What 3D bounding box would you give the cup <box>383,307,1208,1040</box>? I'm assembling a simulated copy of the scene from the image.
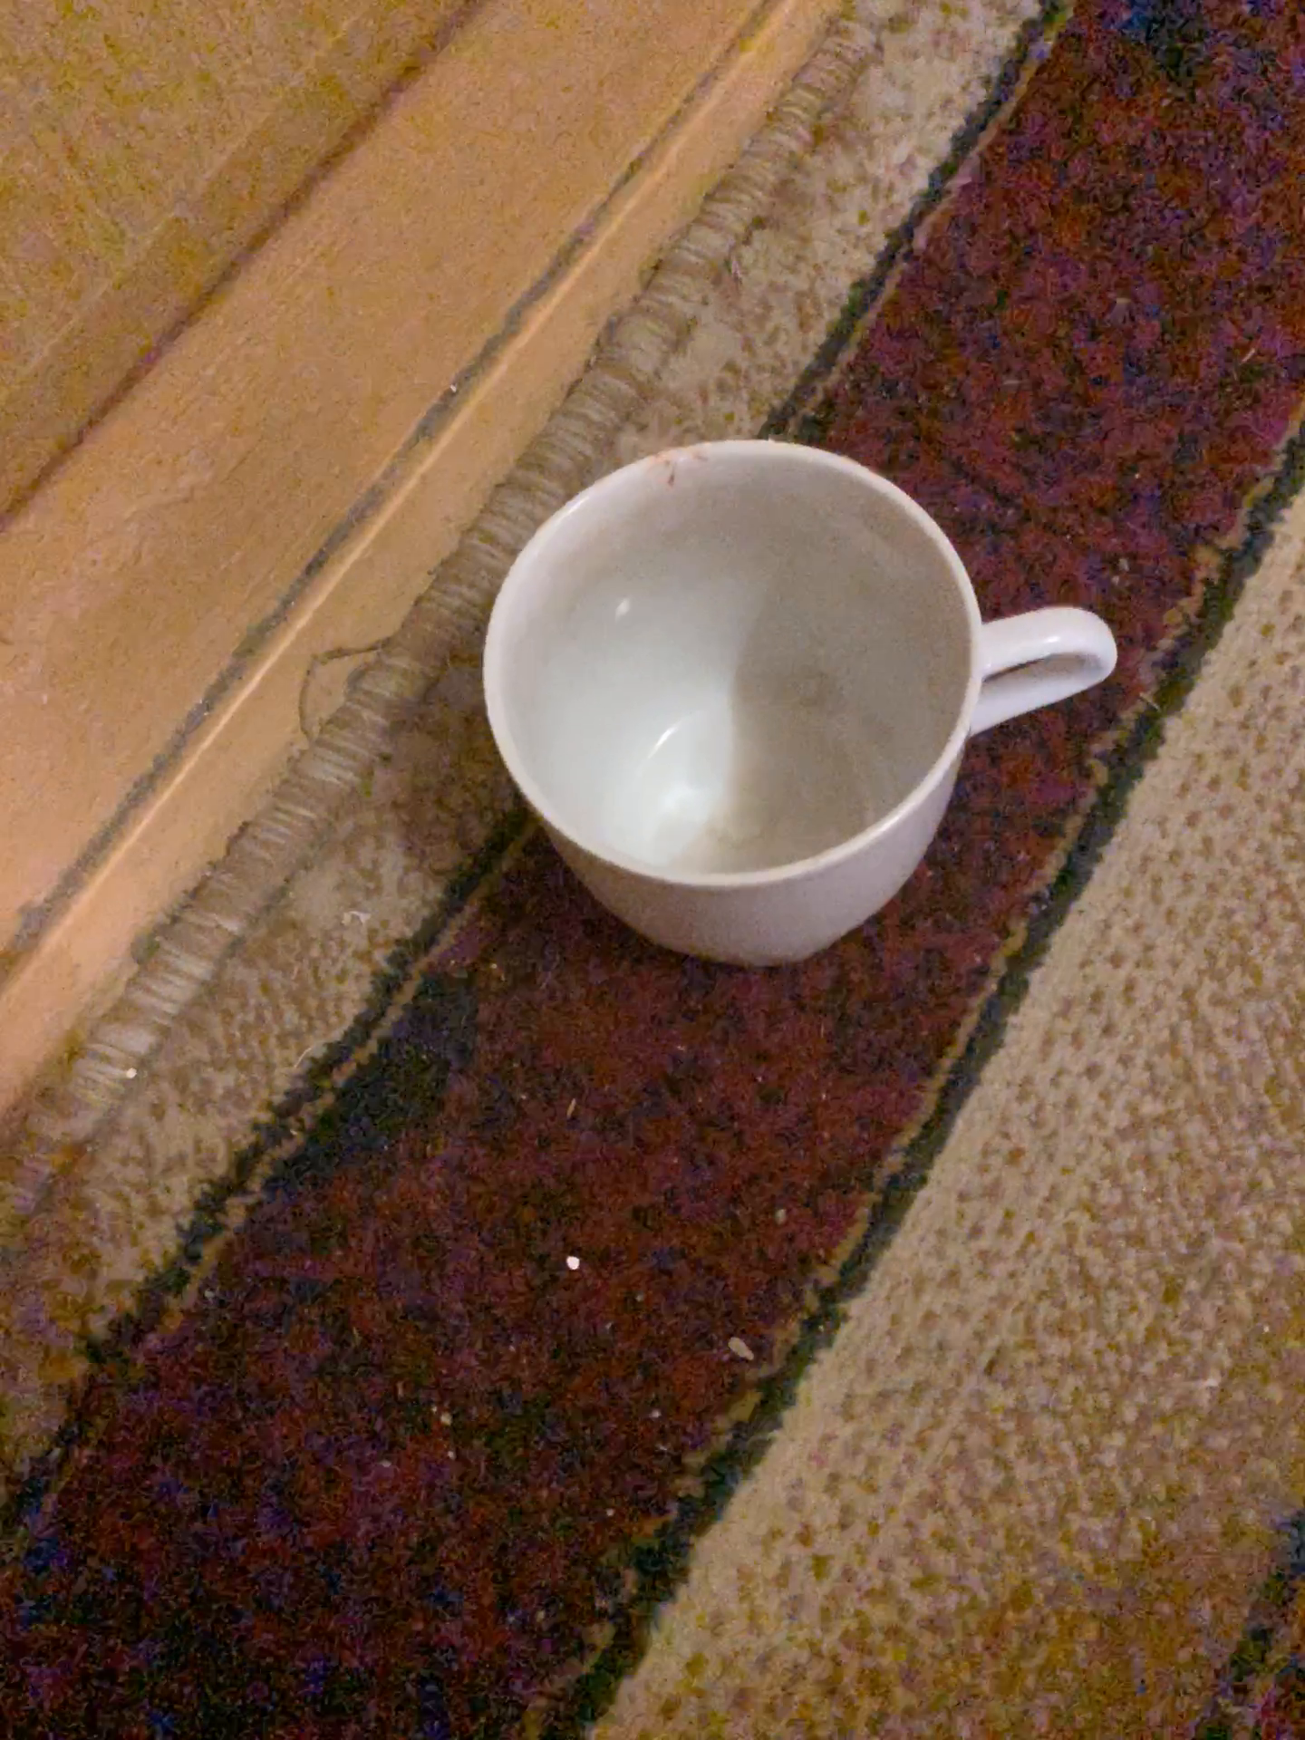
[{"bbox_3d":[0.023,-0.031,0.254,0.114,0.075,0.081,-17,69,2],"label":"cup"}]
